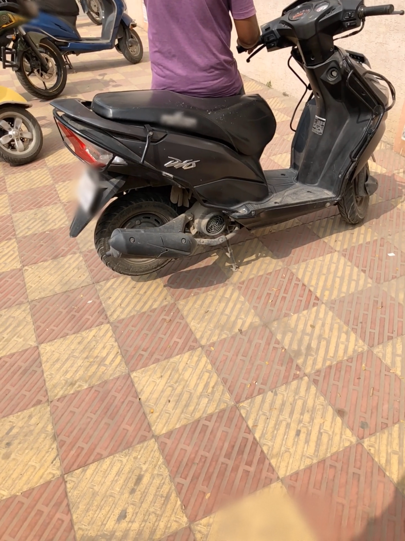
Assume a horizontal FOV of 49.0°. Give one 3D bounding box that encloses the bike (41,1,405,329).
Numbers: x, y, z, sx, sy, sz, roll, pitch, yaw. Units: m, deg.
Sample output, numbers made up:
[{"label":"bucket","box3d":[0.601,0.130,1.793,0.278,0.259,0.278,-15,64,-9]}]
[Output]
[{"label":"bike","box3d":[0.227,-0.549,1.964,1.510,0.987,0.576,-20,40,-24]}]
